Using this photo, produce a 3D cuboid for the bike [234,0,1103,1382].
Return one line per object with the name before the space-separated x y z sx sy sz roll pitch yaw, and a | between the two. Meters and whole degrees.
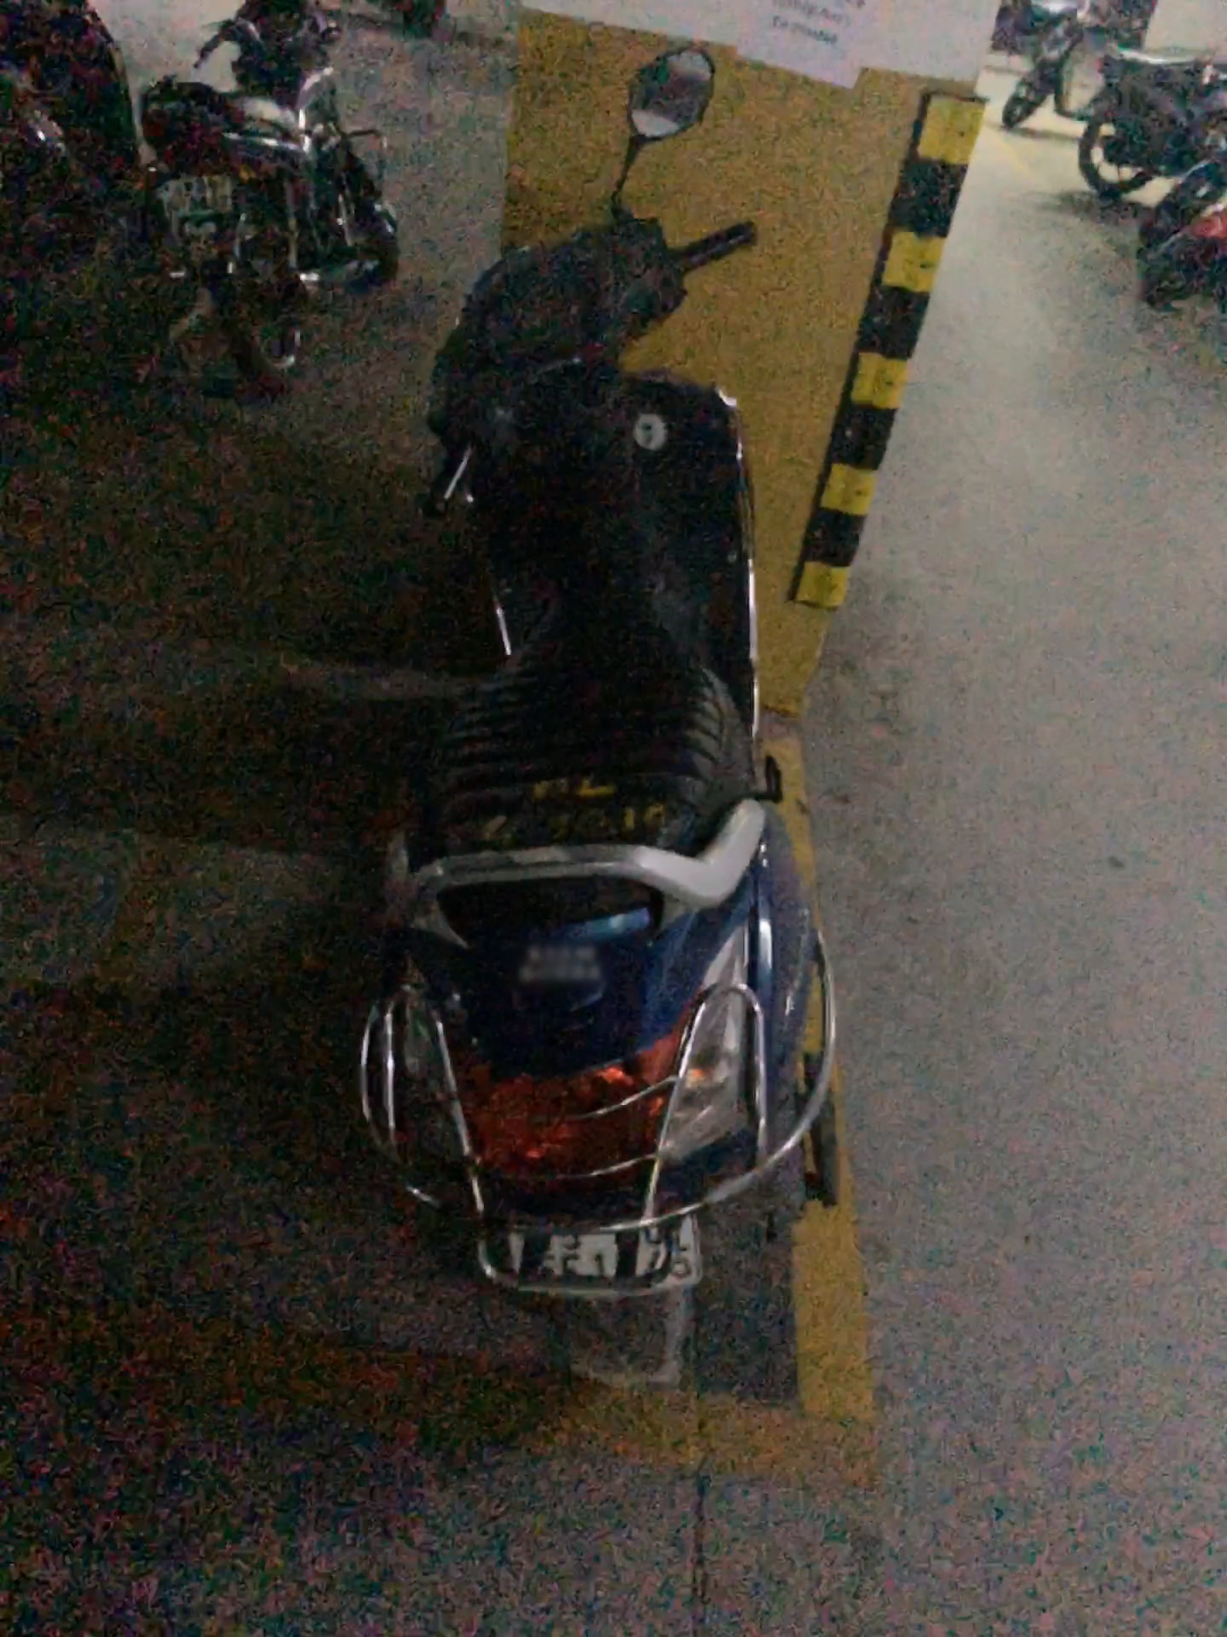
bike | -0.090 -0.215 1.627 0.631 1.063 1.275 2 44 -11
